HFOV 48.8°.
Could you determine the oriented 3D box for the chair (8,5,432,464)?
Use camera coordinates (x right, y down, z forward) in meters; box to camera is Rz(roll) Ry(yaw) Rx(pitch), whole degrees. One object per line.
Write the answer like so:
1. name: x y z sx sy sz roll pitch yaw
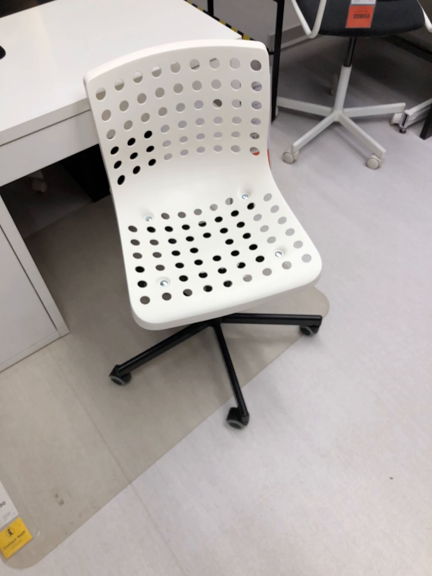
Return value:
1. chair: -0.019 -0.108 1.161 0.670 0.746 0.653 -14 53 -9
